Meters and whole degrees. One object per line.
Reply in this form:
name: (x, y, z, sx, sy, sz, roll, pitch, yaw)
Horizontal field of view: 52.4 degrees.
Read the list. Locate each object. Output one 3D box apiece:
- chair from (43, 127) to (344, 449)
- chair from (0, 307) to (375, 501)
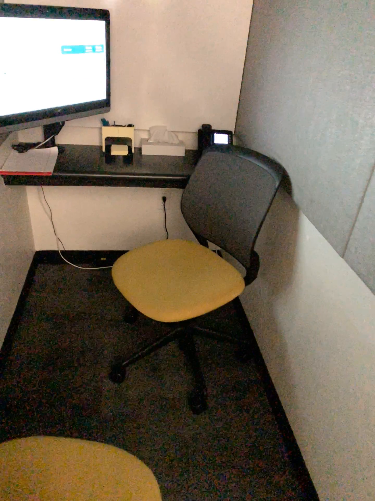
chair: (-0.007, 0.069, 1.942, 0.952, 1.034, 0.923, -24, 43, -39)
chair: (-0.217, 0.638, 0.561, 0.550, 0.845, 0.573, 9, 32, 5)
